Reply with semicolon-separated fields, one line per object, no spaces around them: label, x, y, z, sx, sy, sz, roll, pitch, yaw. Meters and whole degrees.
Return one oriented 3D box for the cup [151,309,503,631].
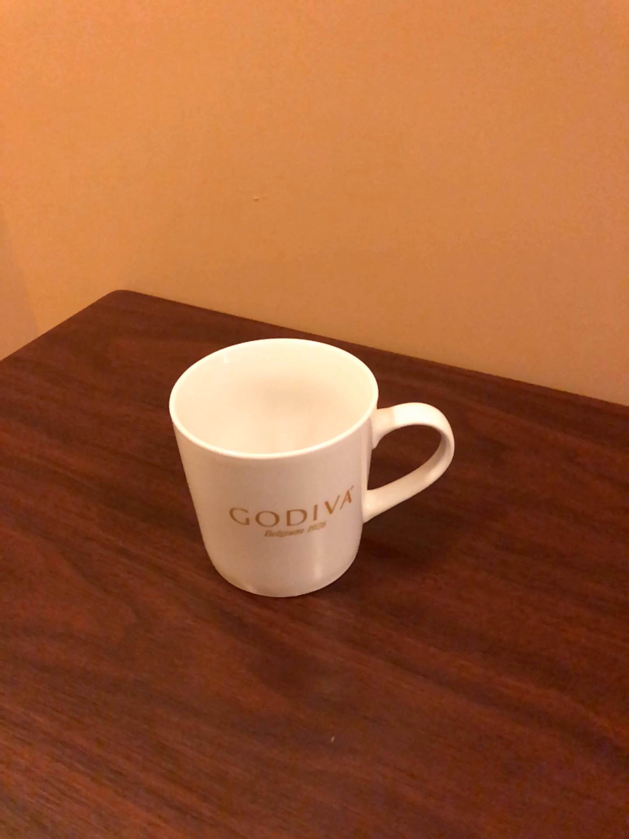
cup;0.000;0.020;0.371;0.150;0.099;0.111;-9;37;-10
